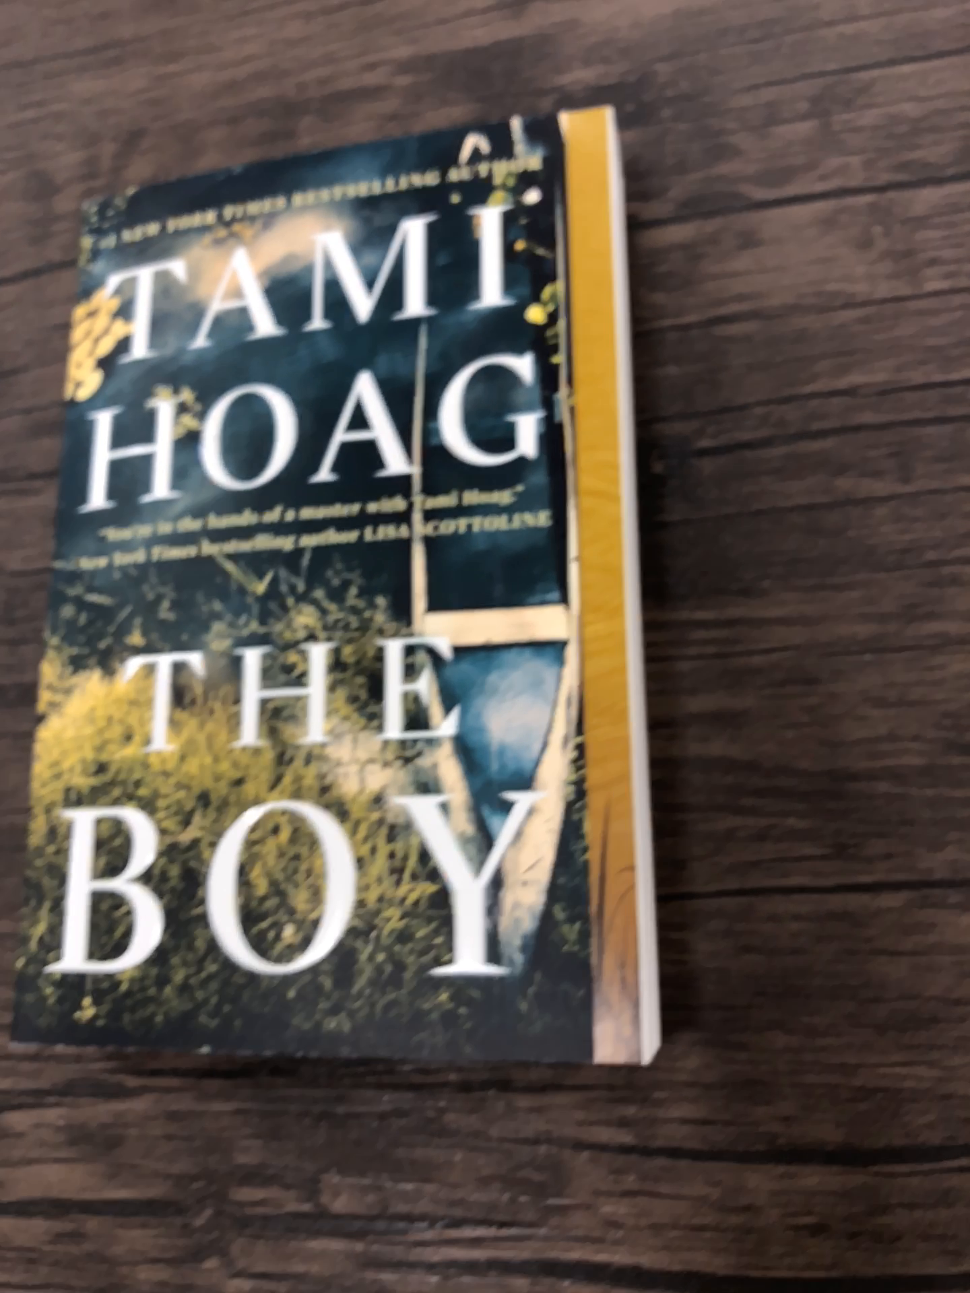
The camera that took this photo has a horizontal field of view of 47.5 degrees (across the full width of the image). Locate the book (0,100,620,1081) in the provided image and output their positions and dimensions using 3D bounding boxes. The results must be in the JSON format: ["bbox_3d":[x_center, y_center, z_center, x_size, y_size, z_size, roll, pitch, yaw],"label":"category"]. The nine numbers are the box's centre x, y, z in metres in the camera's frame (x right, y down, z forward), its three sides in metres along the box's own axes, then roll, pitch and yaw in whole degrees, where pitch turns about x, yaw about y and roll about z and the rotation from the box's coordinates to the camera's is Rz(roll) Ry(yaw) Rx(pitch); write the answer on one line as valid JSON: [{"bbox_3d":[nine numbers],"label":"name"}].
[{"bbox_3d":[-0.044,-0.014,0.252,0.139,0.032,0.202,-4,75,16],"label":"book"}]
